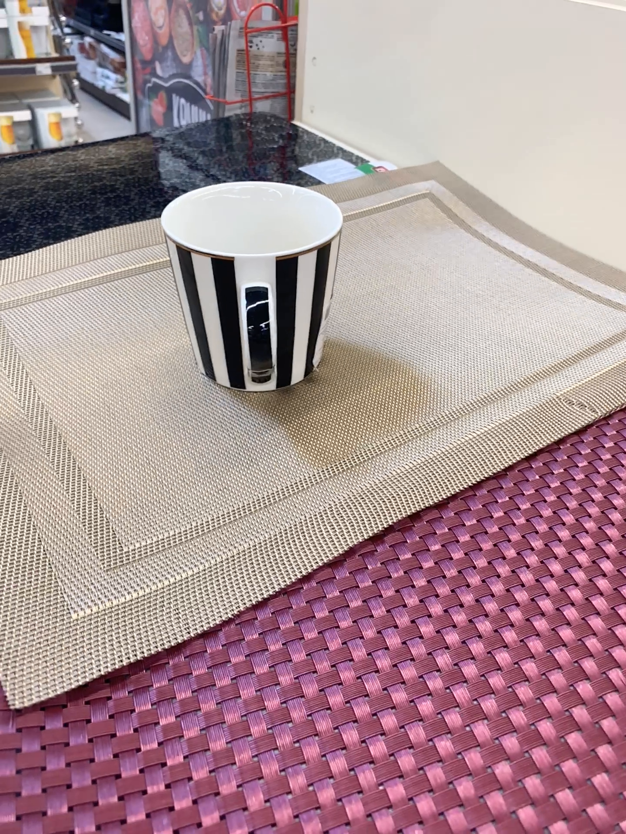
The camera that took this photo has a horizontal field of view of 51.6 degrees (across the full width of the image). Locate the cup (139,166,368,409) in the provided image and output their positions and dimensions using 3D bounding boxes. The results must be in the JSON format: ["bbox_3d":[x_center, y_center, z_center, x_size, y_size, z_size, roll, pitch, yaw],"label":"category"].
[{"bbox_3d":[-0.034,-0.076,0.358,0.100,0.080,0.131,-1,38,-7],"label":"cup"}]
